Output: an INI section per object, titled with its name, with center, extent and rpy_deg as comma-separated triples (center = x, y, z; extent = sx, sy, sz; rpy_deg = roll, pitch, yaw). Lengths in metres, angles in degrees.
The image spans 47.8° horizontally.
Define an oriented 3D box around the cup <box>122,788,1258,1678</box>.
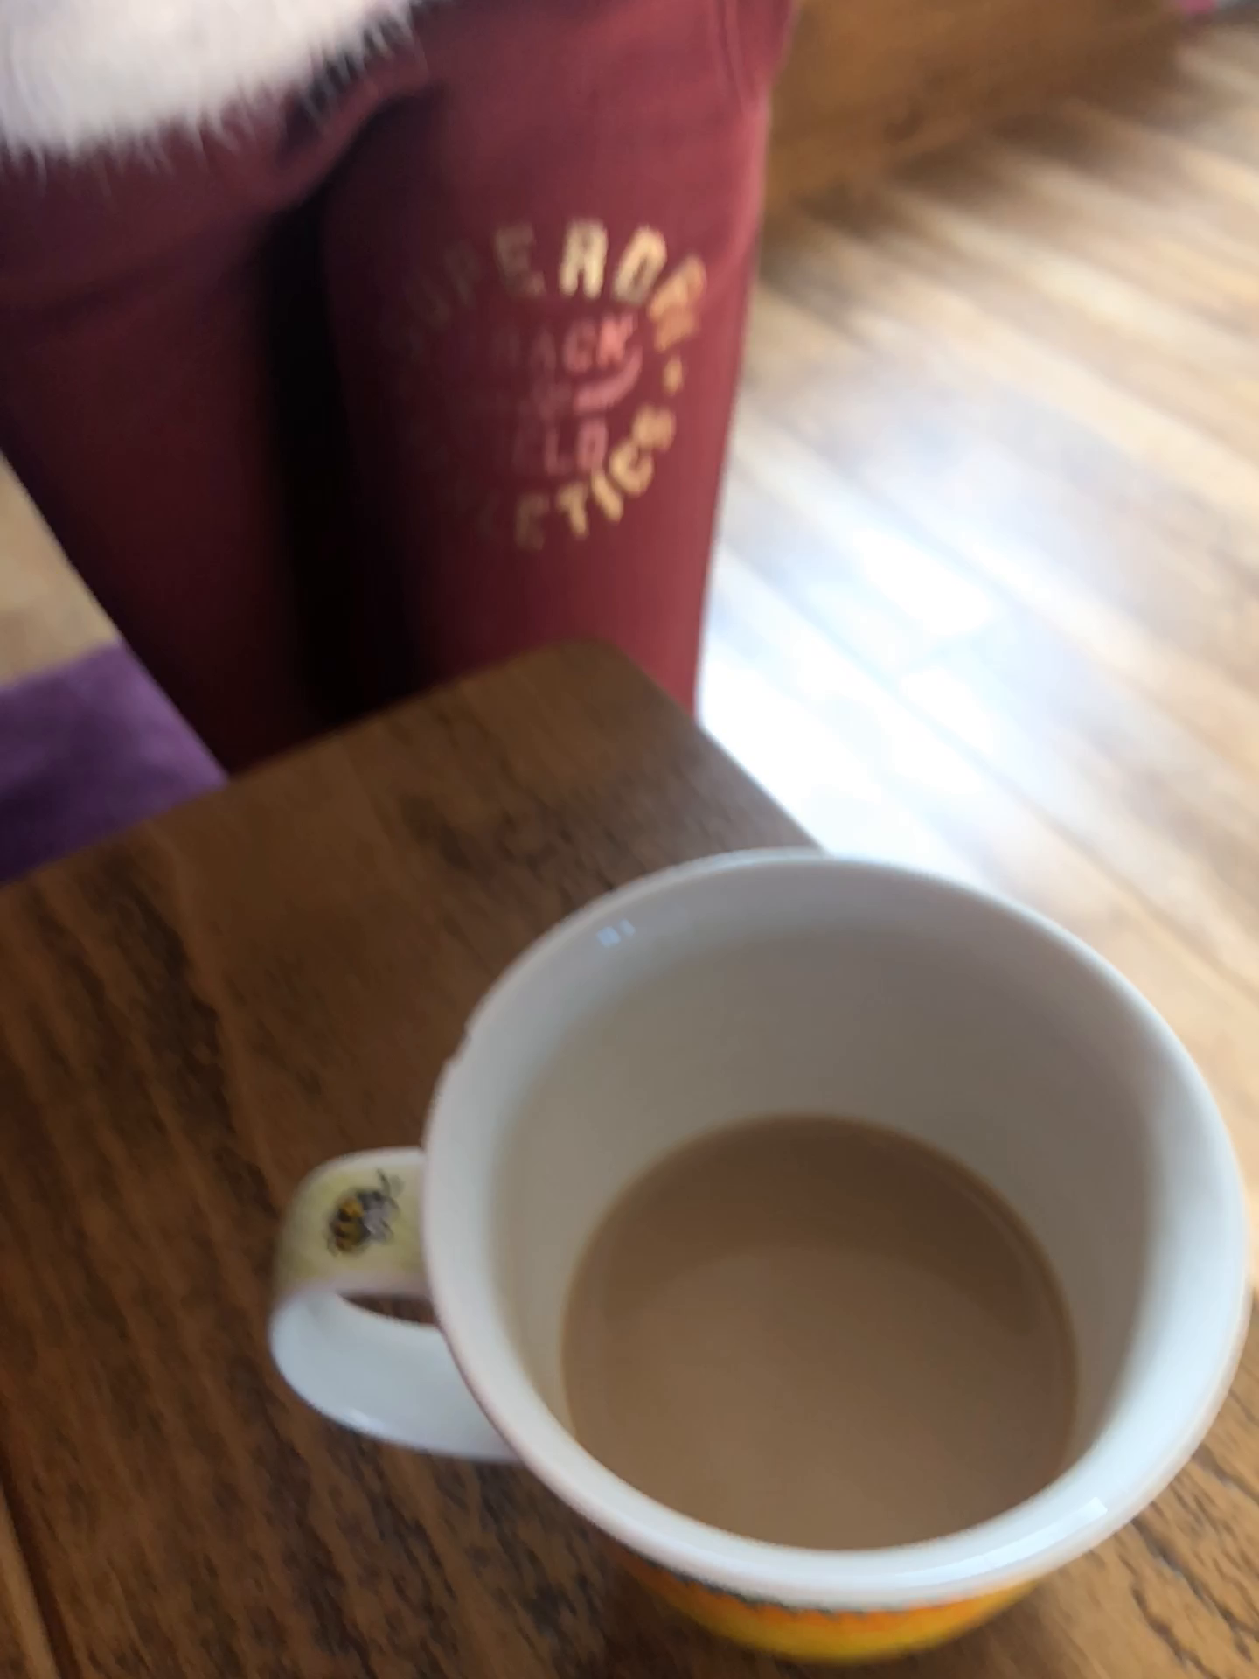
[cup]
center = 0.014, 0.067, 0.212
extent = 0.127, 0.089, 0.107
rpy_deg = -5, 48, 2
